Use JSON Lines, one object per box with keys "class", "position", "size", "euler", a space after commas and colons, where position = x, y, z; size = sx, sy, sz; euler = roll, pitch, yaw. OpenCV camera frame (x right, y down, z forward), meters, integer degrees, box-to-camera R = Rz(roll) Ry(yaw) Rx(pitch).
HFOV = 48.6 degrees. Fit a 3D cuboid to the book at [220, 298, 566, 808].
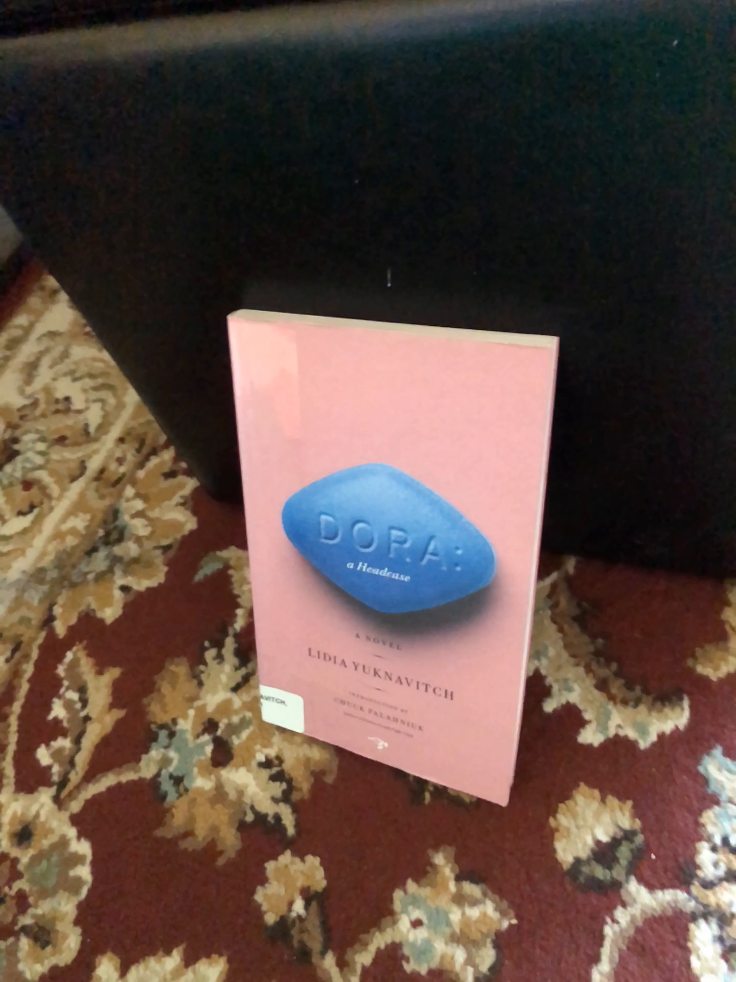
{"class": "book", "position": [0.006, 0.032, 0.397], "size": [0.149, 0.231, 0.030], "euler": [12, 27, 23]}
